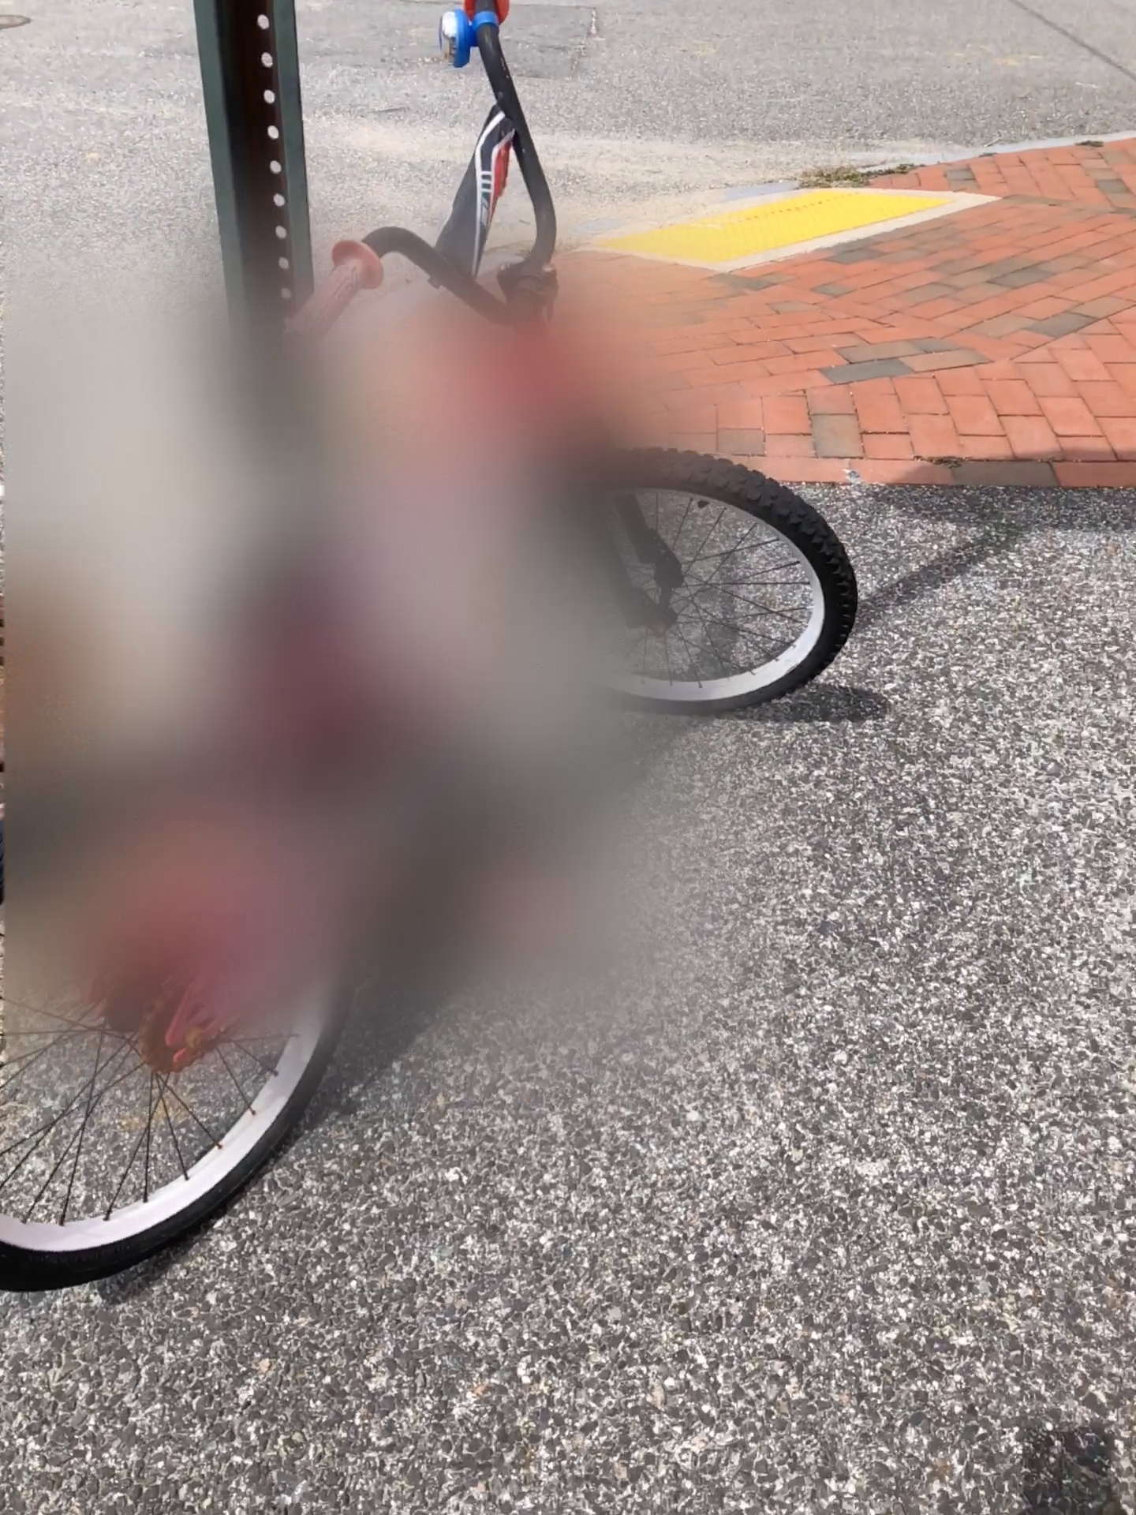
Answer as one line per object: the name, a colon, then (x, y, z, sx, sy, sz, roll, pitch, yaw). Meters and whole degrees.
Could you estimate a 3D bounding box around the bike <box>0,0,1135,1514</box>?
bike: (-0.097, -0.150, 1.103, 0.696, 0.887, 1.182, 31, 48, 27)
